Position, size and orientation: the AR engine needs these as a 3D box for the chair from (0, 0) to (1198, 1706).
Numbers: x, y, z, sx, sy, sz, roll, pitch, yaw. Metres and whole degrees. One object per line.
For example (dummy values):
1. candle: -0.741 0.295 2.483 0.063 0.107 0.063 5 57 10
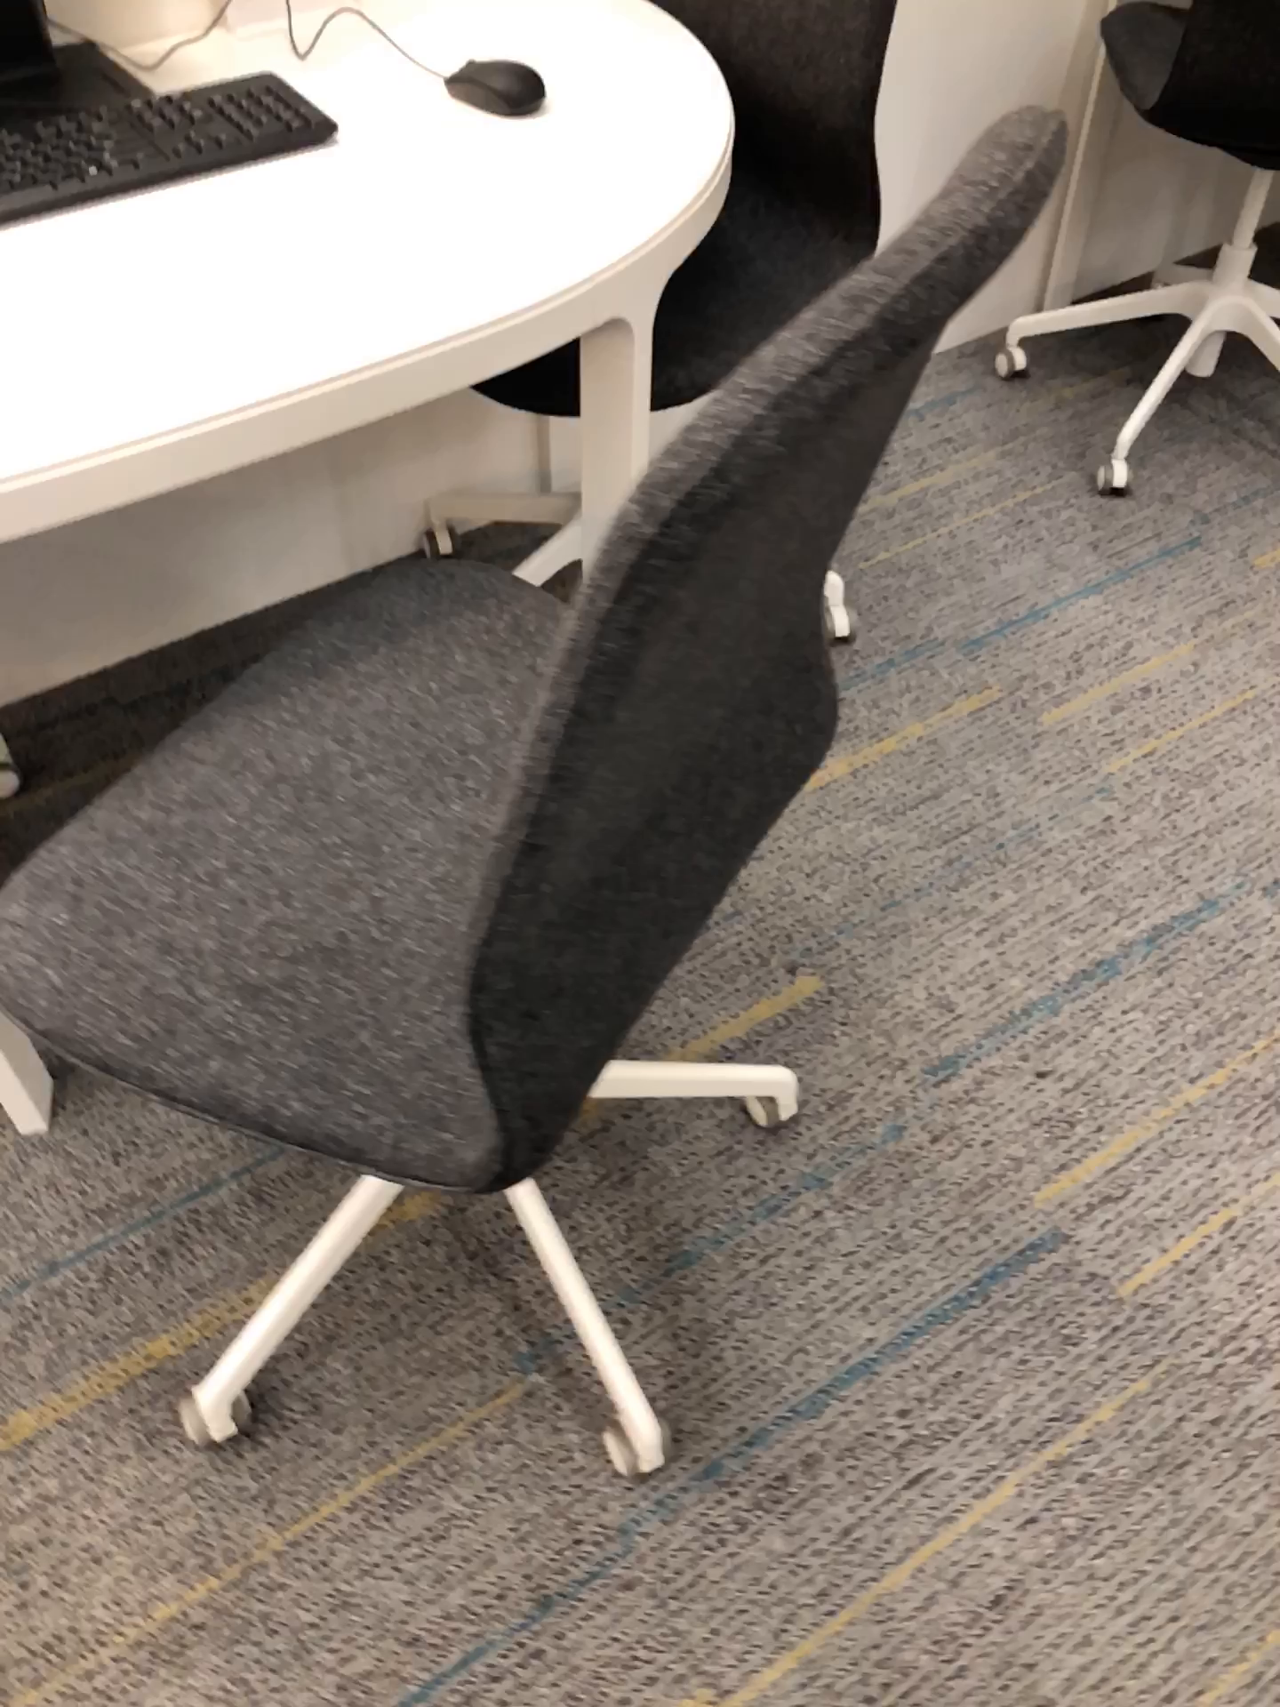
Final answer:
1. chair: -0.170 0.012 0.974 0.631 0.994 0.632 25 53 21
